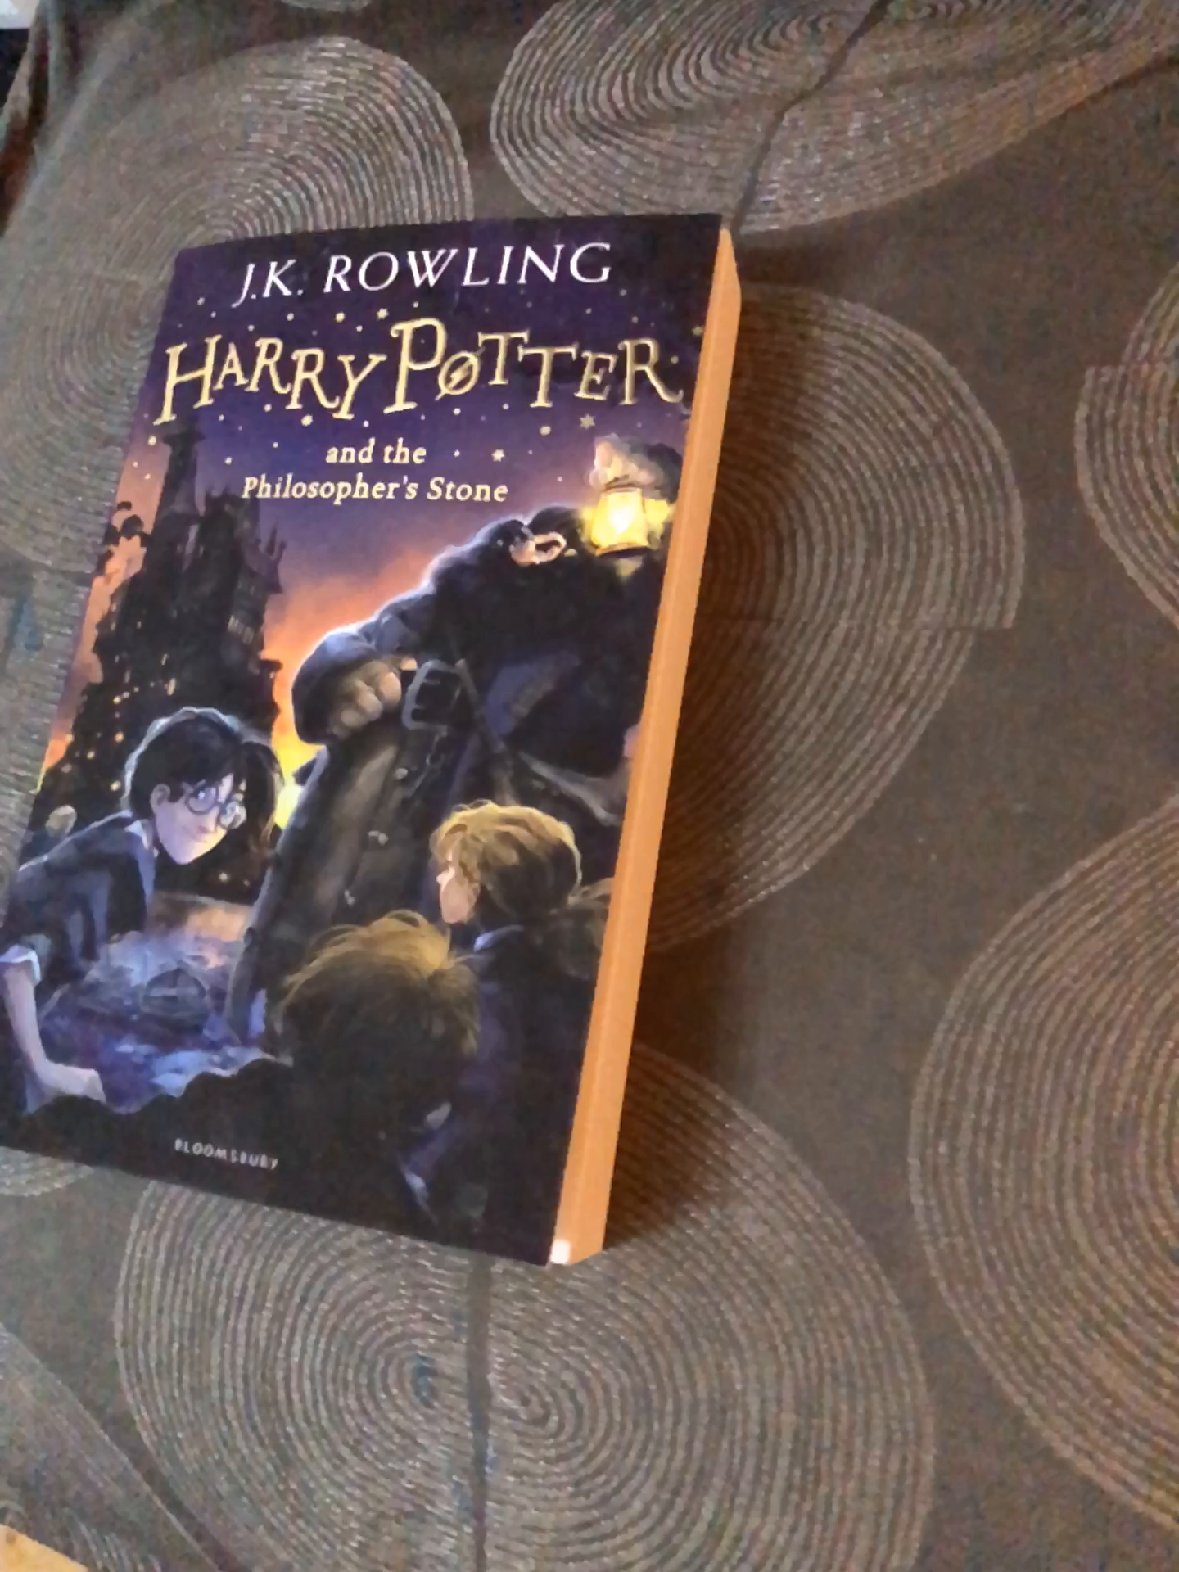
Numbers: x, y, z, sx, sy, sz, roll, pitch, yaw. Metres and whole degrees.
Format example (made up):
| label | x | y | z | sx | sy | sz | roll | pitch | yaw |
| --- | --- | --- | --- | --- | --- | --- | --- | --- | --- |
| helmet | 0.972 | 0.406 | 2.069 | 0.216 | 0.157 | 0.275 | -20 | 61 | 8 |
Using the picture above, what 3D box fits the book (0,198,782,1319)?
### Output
| label | x | y | z | sx | sy | sz | roll | pitch | yaw |
| --- | --- | --- | --- | --- | --- | --- | --- | --- | --- |
| book | -0.043 | -0.017 | 0.267 | 0.140 | 0.040 | 0.210 | 5 | 75 | 12 |
